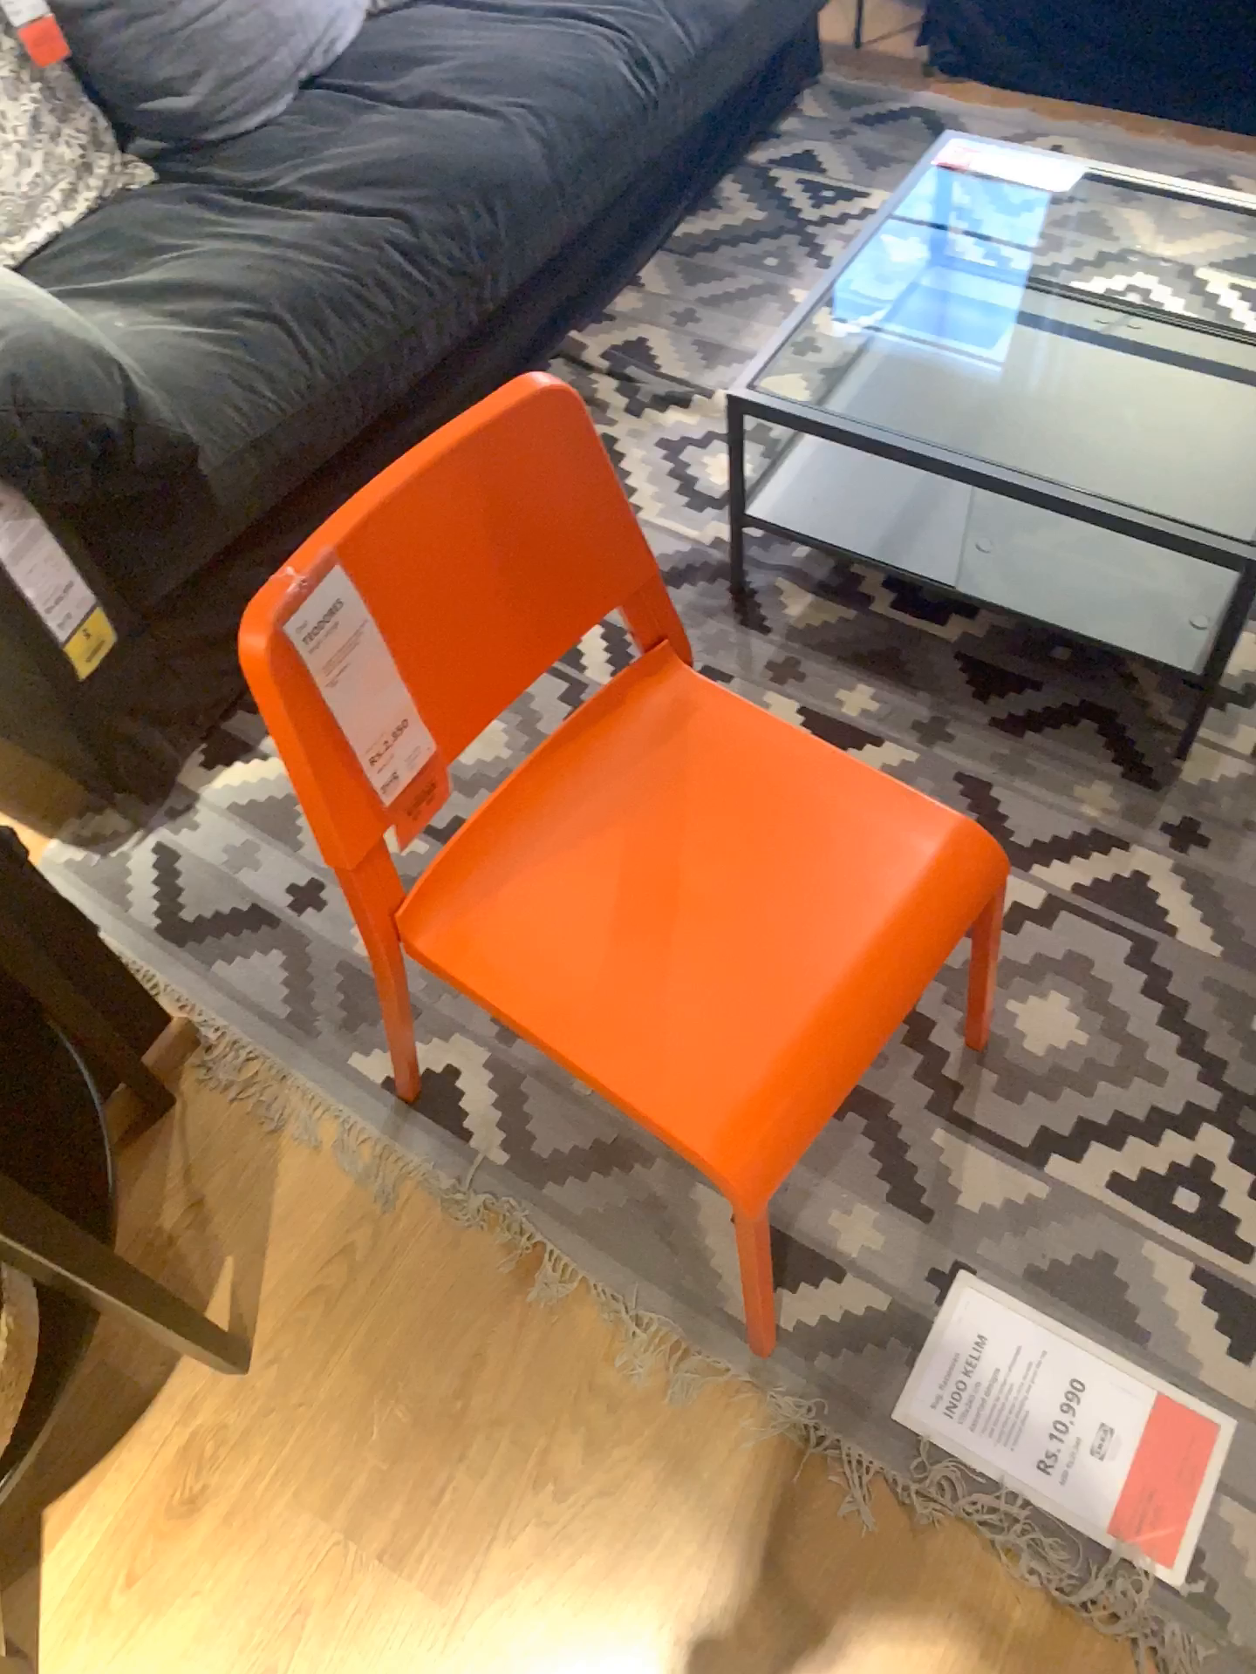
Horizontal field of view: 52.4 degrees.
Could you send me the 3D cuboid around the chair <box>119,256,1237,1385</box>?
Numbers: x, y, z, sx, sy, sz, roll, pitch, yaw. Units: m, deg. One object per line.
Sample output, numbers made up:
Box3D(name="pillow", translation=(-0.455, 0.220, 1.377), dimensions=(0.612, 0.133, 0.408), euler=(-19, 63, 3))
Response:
Box3D(name="chair", translation=(0.063, 0.028, 1.148), dimensions=(0.541, 0.738, 0.510), euler=(31, 65, 24))
